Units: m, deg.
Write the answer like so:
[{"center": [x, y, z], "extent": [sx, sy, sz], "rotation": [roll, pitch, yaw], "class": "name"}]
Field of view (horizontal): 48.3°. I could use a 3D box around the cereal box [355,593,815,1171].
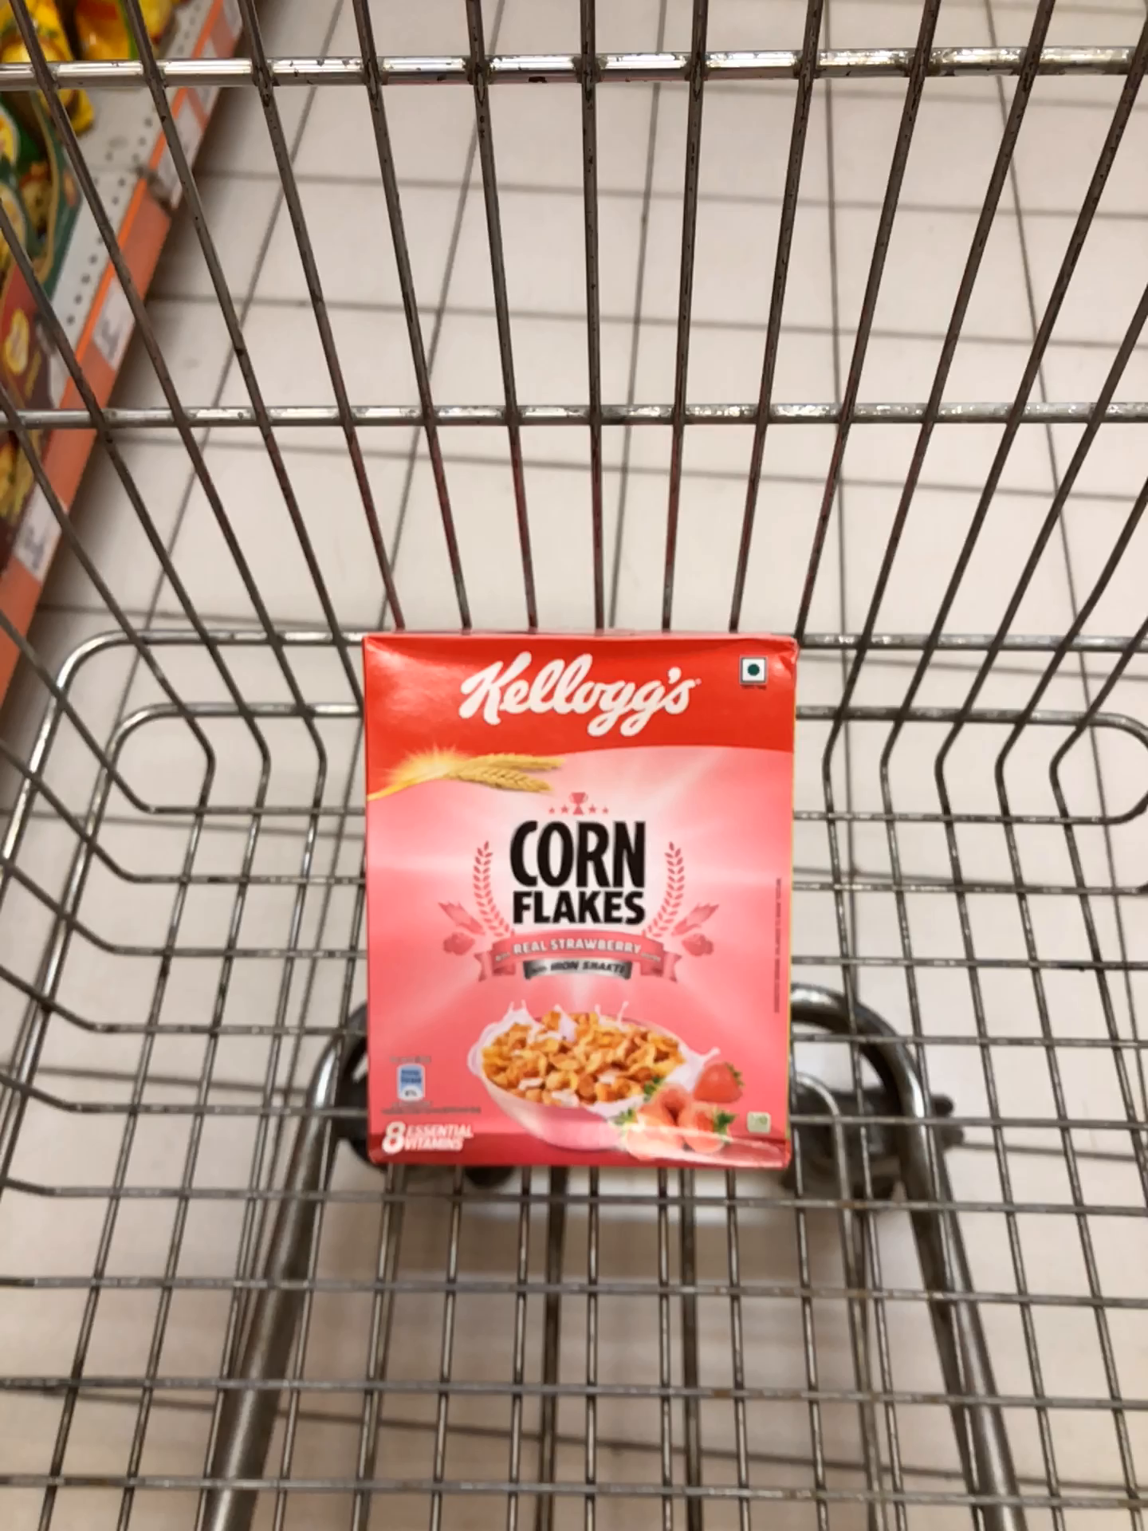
[{"center": [0.002, 0.035, 0.424], "extent": [0.140, 0.050, 0.180], "rotation": [1, 96, 1], "class": "cereal box"}]
